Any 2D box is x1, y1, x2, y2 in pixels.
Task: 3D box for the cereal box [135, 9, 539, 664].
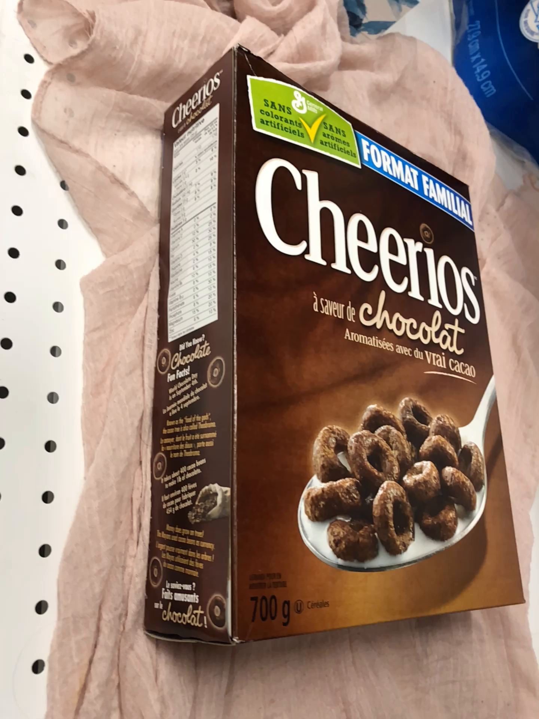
[{"bbox_3d":[0.046,-0.008,0.386,0.231,0.090,0.330,12,67,-37],"label":"cereal box"}]
